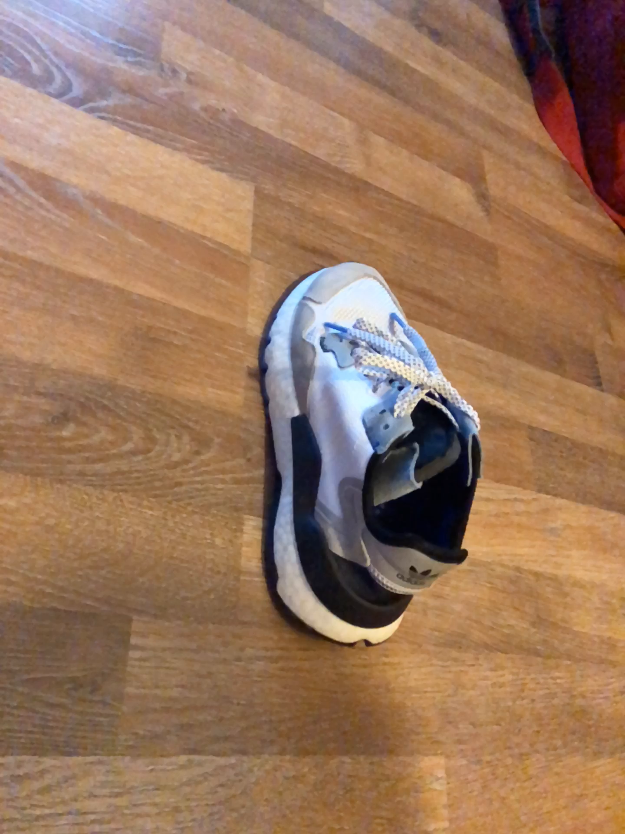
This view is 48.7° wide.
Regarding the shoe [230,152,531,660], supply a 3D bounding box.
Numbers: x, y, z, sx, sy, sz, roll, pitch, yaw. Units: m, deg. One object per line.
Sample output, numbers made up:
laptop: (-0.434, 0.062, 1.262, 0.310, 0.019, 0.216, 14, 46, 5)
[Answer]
shoe: (0.031, -0.004, 0.422, 0.114, 0.109, 0.271, 15, 59, -29)
